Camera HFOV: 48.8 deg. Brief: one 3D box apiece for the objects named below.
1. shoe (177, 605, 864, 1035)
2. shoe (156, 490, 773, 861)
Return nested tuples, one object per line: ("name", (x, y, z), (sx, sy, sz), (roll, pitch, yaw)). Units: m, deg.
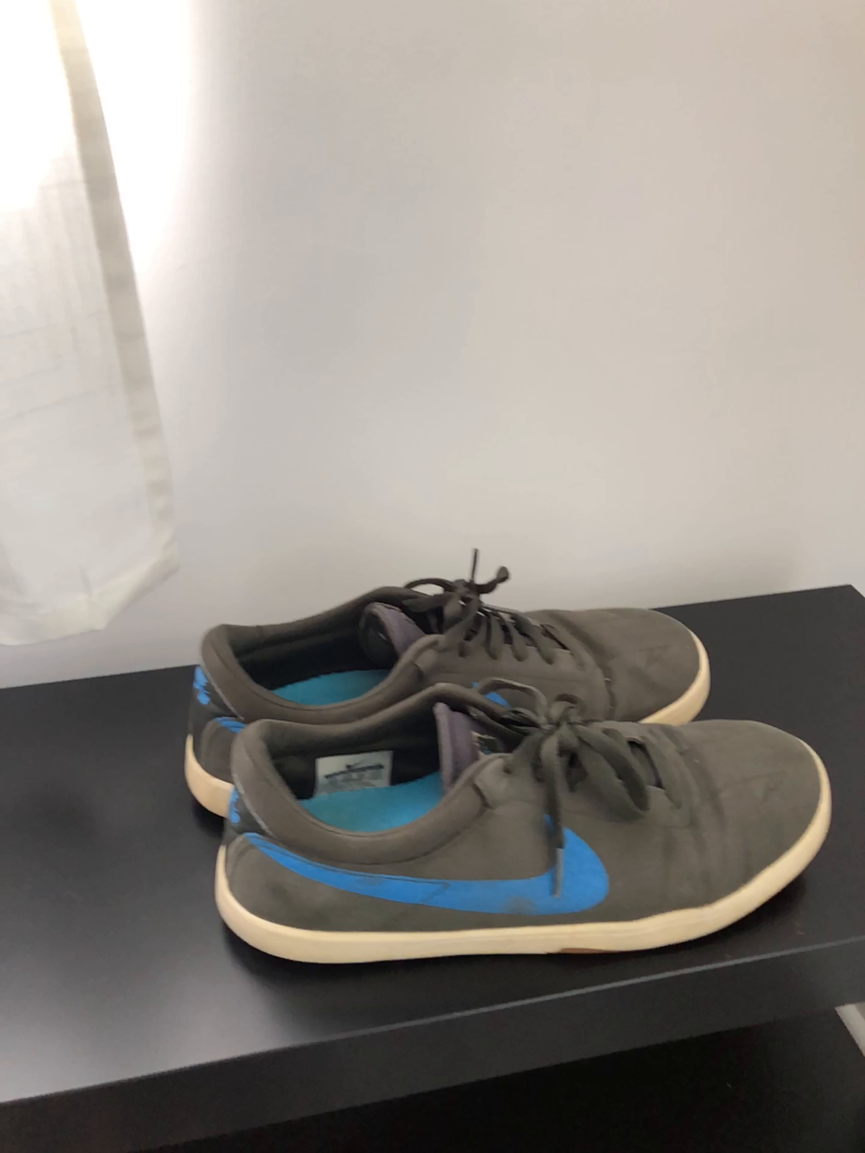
("shoe", (0.042, 0.098, 0.416), (0.280, 0.110, 0.100), (-5, 32, -9))
("shoe", (0.011, 0.042, 0.487), (0.280, 0.110, 0.100), (-8, 32, -13))
